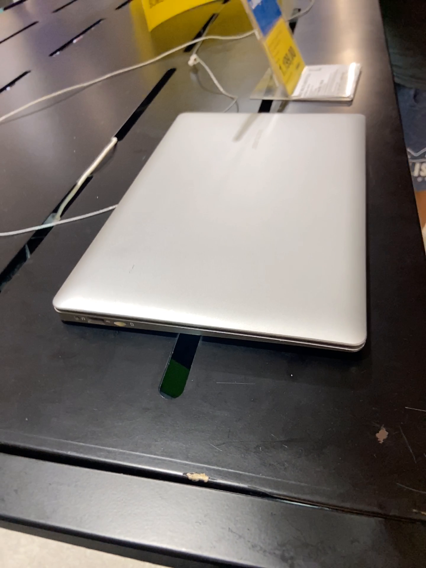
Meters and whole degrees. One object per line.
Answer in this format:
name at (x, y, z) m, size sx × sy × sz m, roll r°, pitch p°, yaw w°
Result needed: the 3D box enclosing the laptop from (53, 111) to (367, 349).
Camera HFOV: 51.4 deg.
laptop at (0.026, -0.083, 0.389) m, size 0.205 × 0.003 × 0.316 m, roll 6°, pitch 45°, yaw 13°
